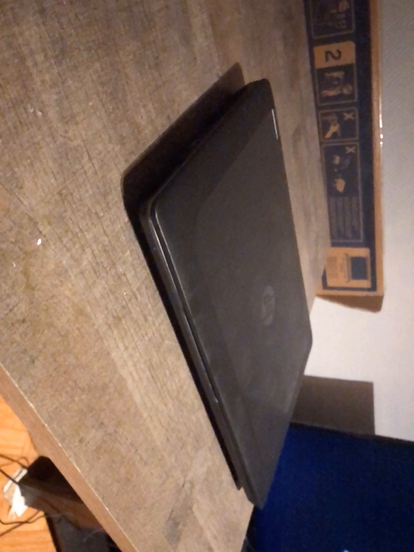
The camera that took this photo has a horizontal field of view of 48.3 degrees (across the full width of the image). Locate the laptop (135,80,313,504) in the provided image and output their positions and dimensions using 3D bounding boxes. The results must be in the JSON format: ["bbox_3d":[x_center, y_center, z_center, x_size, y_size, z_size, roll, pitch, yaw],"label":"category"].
[{"bbox_3d":[0.053,0.026,0.474,0.241,0.017,0.366,-60,142,-44],"label":"laptop"}]
